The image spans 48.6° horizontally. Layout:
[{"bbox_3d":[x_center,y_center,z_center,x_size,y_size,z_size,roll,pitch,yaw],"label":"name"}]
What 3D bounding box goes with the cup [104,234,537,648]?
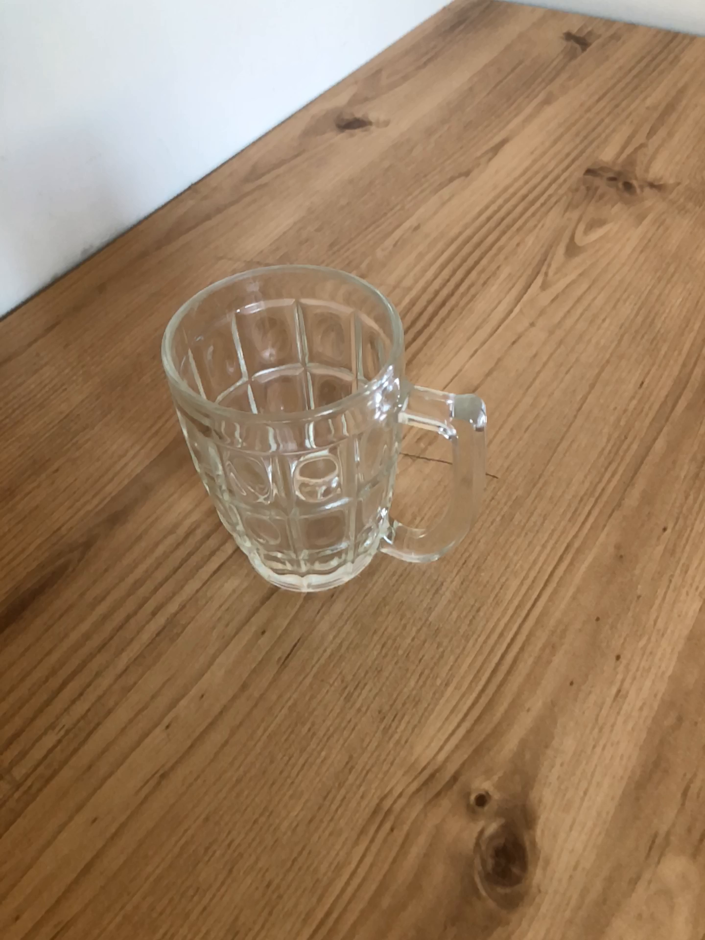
[{"bbox_3d":[-0.005,-0.012,0.298,0.119,0.102,0.089,14,53,16],"label":"cup"}]
